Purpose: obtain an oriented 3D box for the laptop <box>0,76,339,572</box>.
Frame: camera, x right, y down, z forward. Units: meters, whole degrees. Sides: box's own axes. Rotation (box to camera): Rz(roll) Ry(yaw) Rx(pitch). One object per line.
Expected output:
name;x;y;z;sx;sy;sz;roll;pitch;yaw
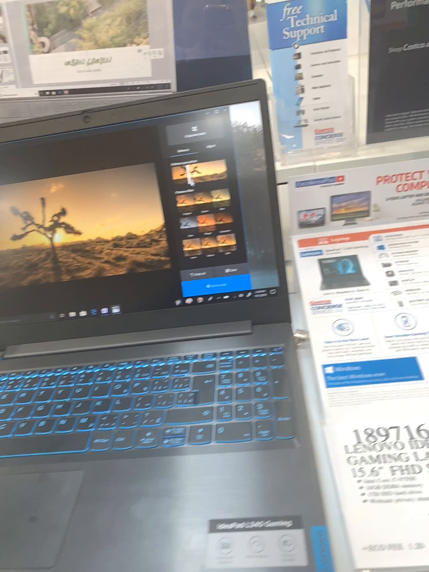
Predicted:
laptop;-0.110;0.004;0.340;0.340;0.214;0.330;-6;31;6
